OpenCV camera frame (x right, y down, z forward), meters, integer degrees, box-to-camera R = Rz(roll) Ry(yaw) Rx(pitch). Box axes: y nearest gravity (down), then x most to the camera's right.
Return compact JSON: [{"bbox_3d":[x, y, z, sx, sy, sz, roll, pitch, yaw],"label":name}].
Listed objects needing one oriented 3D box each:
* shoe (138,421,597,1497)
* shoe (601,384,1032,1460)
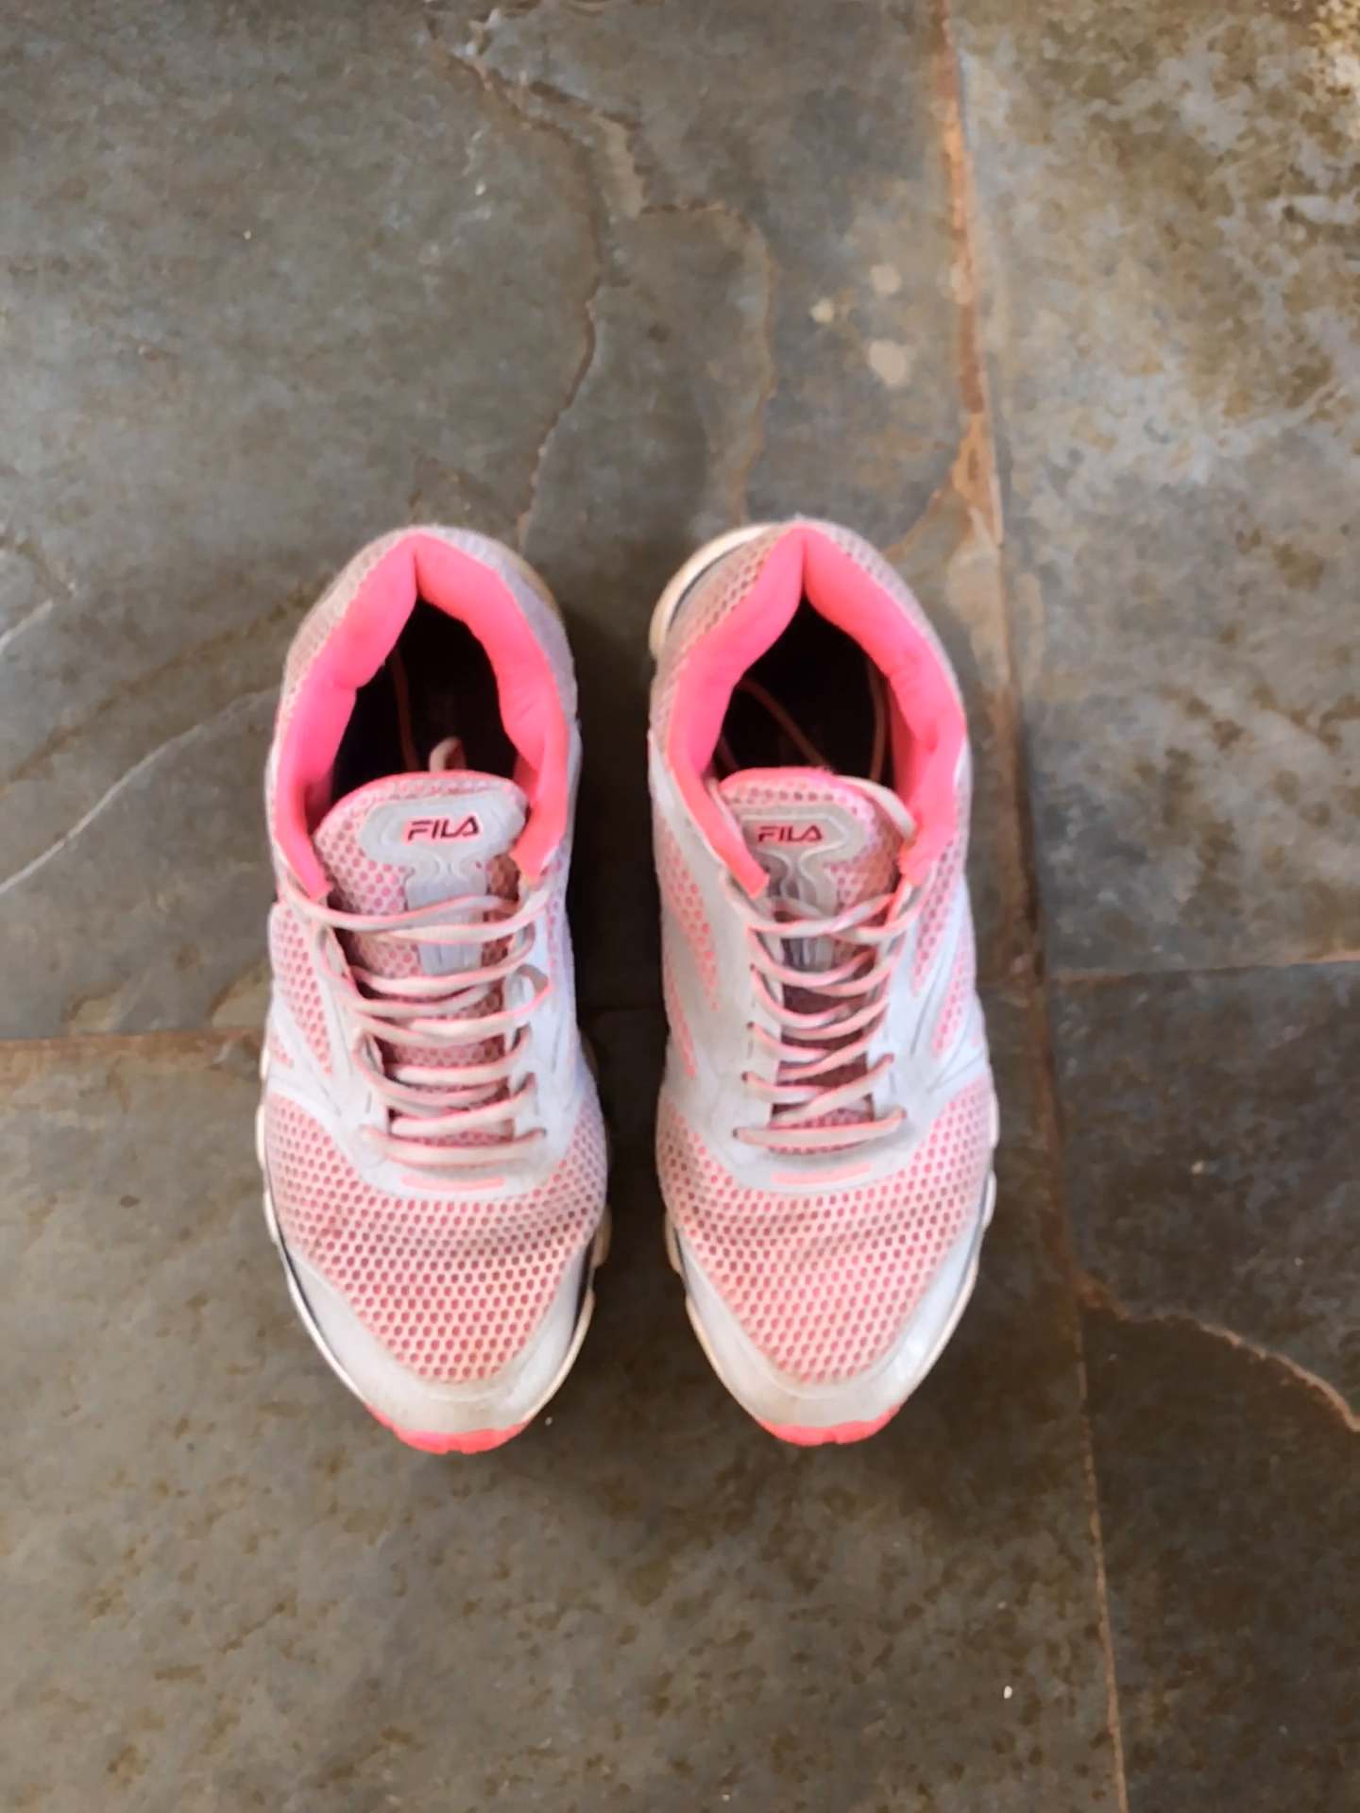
[{"bbox_3d":[-0.088,0.013,0.449,0.110,0.100,0.280,-3,82,-1],"label":"shoe"},{"bbox_3d":[0.034,0.004,0.455,0.110,0.100,0.290,0,82,-1],"label":"shoe"}]
